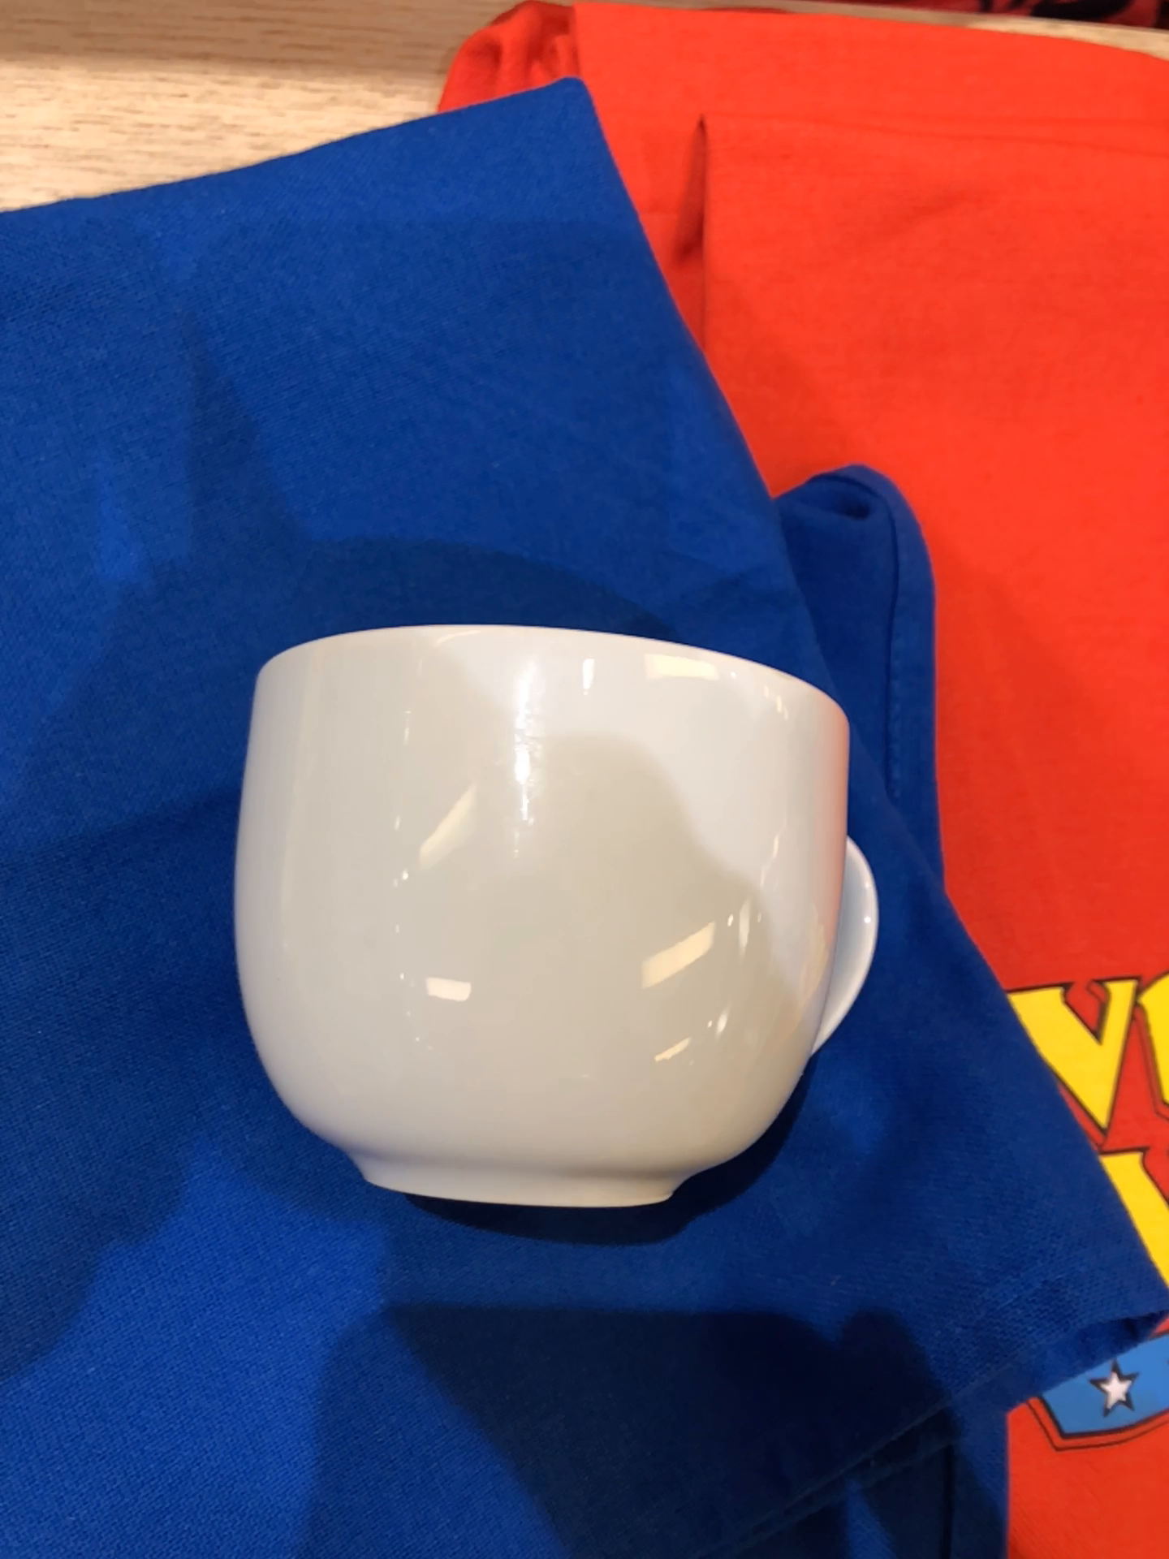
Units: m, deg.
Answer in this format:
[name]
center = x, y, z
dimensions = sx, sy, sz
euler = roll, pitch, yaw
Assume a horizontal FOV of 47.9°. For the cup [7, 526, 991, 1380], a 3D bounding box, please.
[cup]
center = -0.004, 0.030, 0.212
dimensions = 0.130, 0.080, 0.090
euler = 16, 75, -45
